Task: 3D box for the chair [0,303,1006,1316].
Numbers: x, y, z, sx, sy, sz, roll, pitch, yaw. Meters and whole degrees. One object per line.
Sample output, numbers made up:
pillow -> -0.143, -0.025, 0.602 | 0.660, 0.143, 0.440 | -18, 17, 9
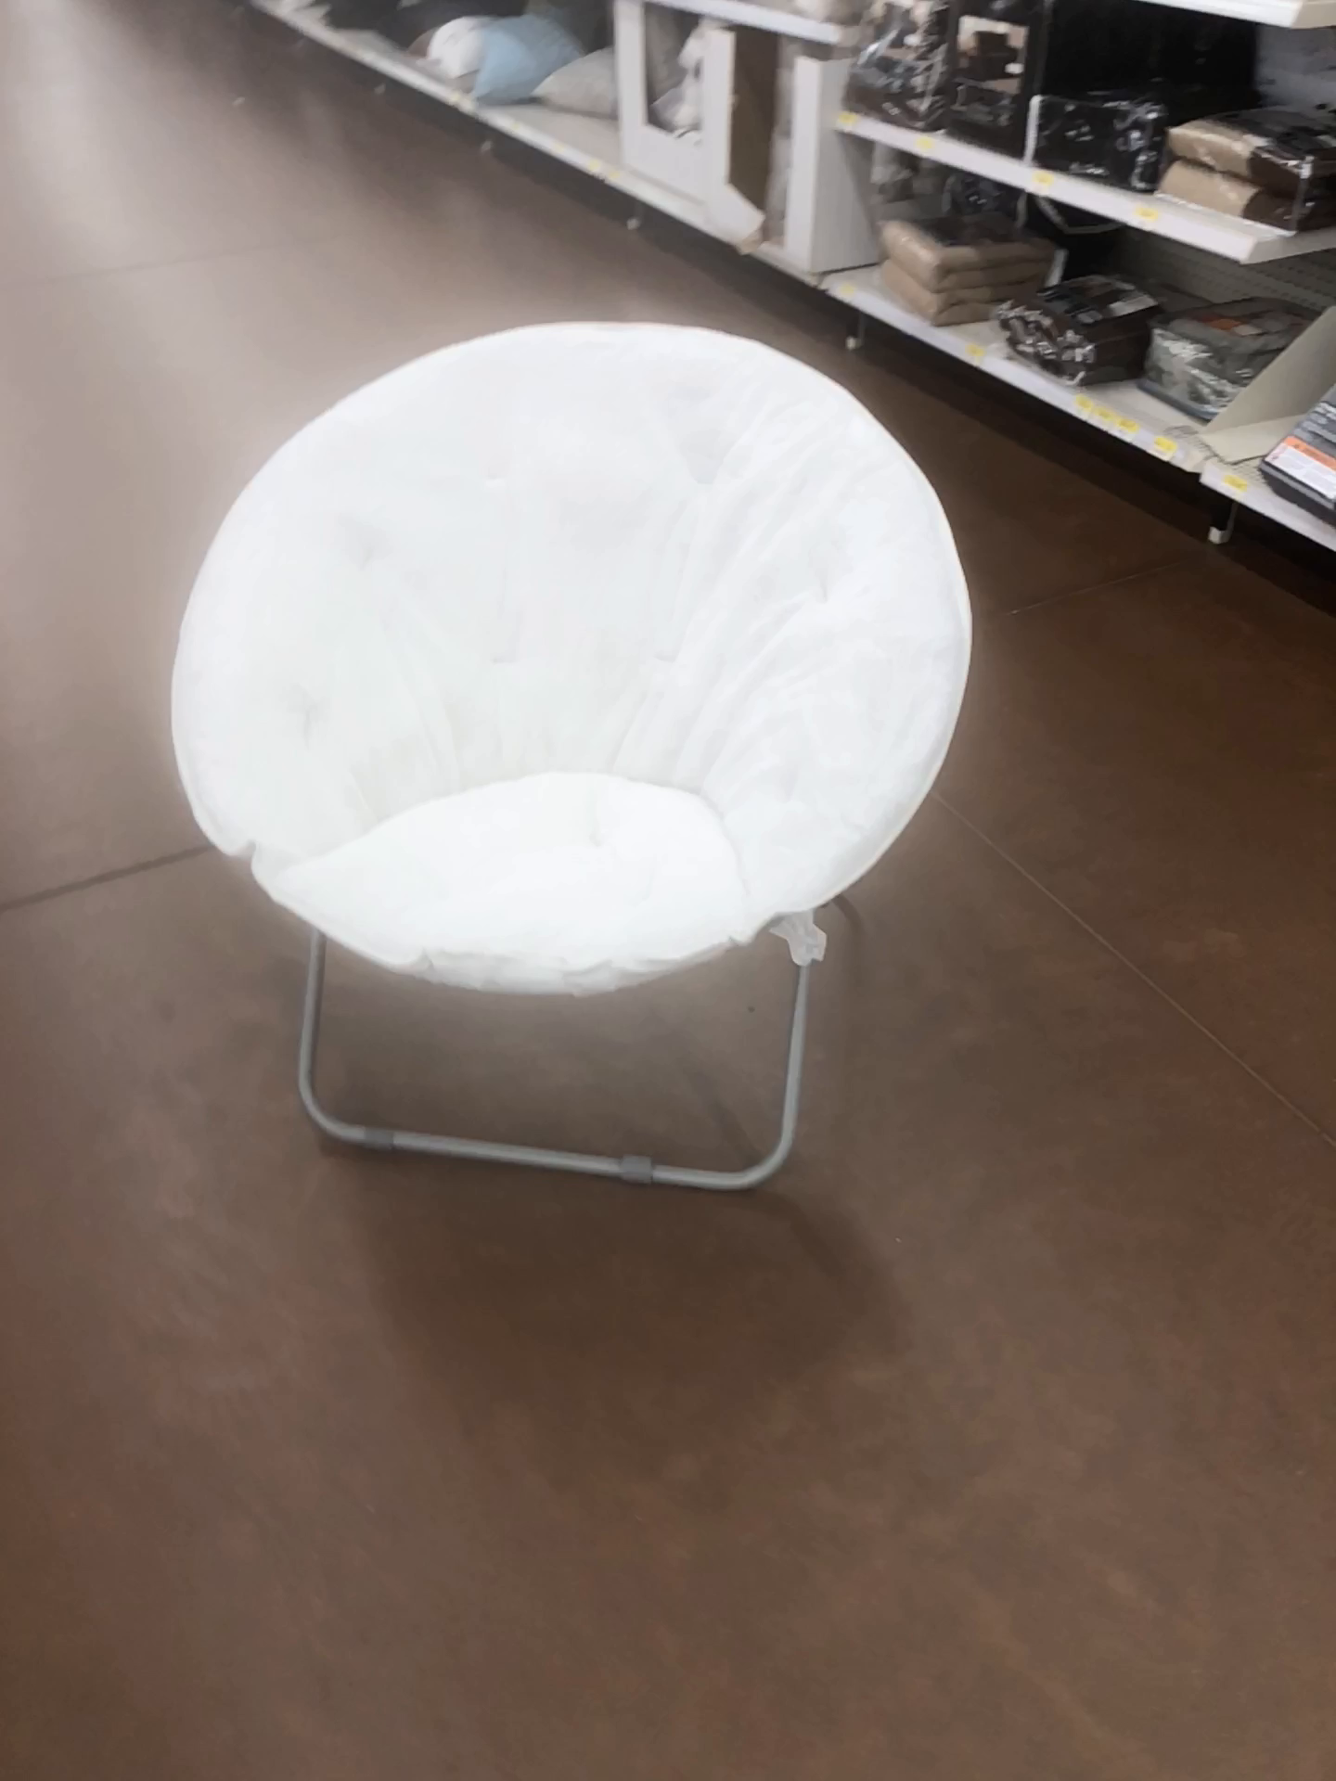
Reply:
chair -> -0.086, -0.137, 1.473 | 0.760, 0.647, 0.753 | 5, 38, 10
